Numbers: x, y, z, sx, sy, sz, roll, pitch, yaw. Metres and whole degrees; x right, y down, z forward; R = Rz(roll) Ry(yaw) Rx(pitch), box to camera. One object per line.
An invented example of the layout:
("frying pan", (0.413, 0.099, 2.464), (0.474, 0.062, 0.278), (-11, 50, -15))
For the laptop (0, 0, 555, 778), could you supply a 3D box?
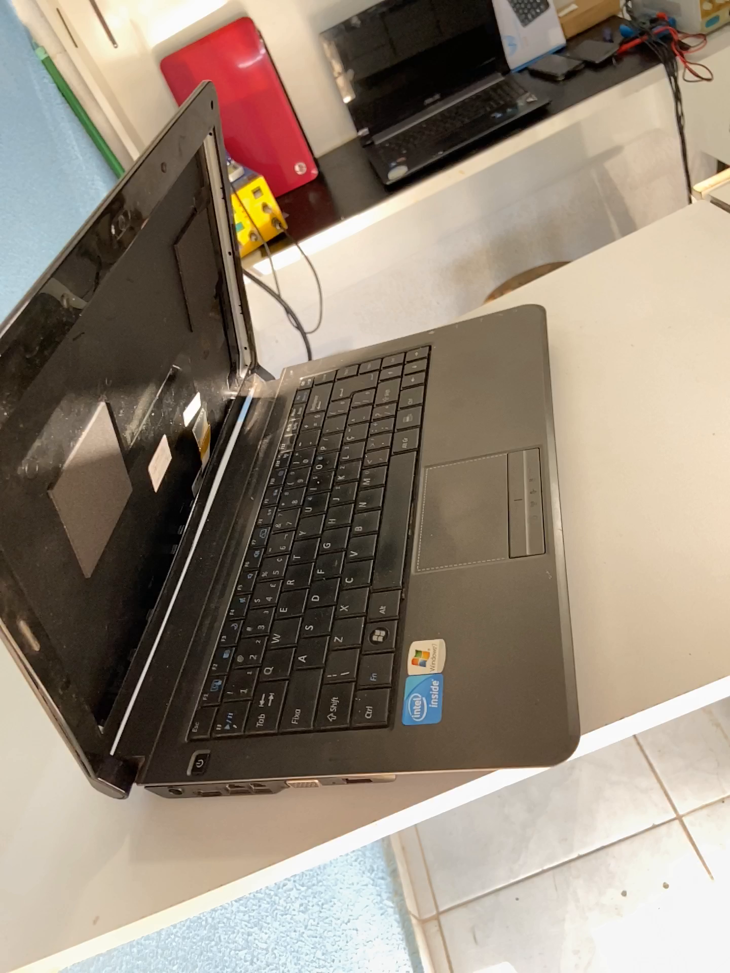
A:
("laptop", (-0.038, -0.059, 0.392), (0.206, 0.206, 0.332), (-12, 42, 21))
